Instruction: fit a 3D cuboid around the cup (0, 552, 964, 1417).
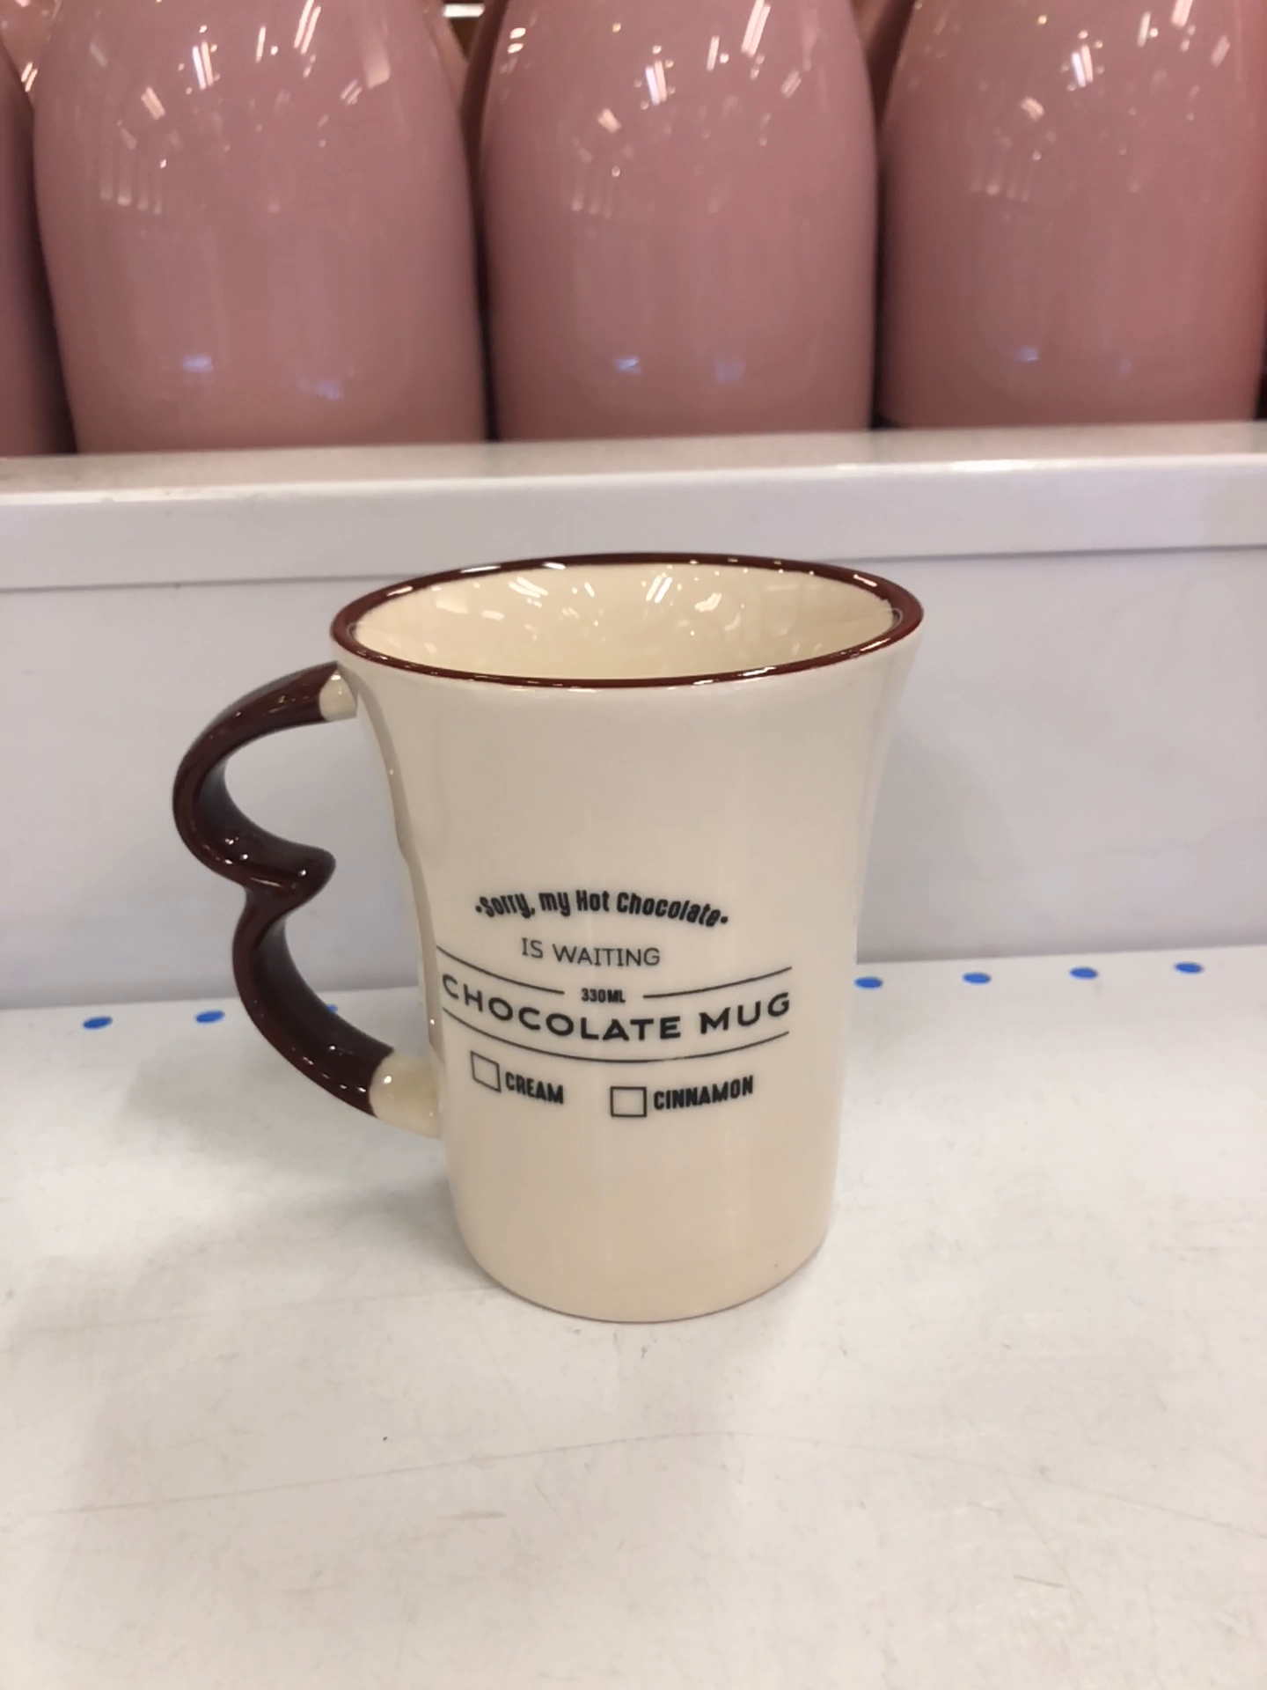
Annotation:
[{"bbox_3d":[-0.019,0.016,0.234,0.120,0.109,0.091,-1,21,0],"label":"cup"}]
